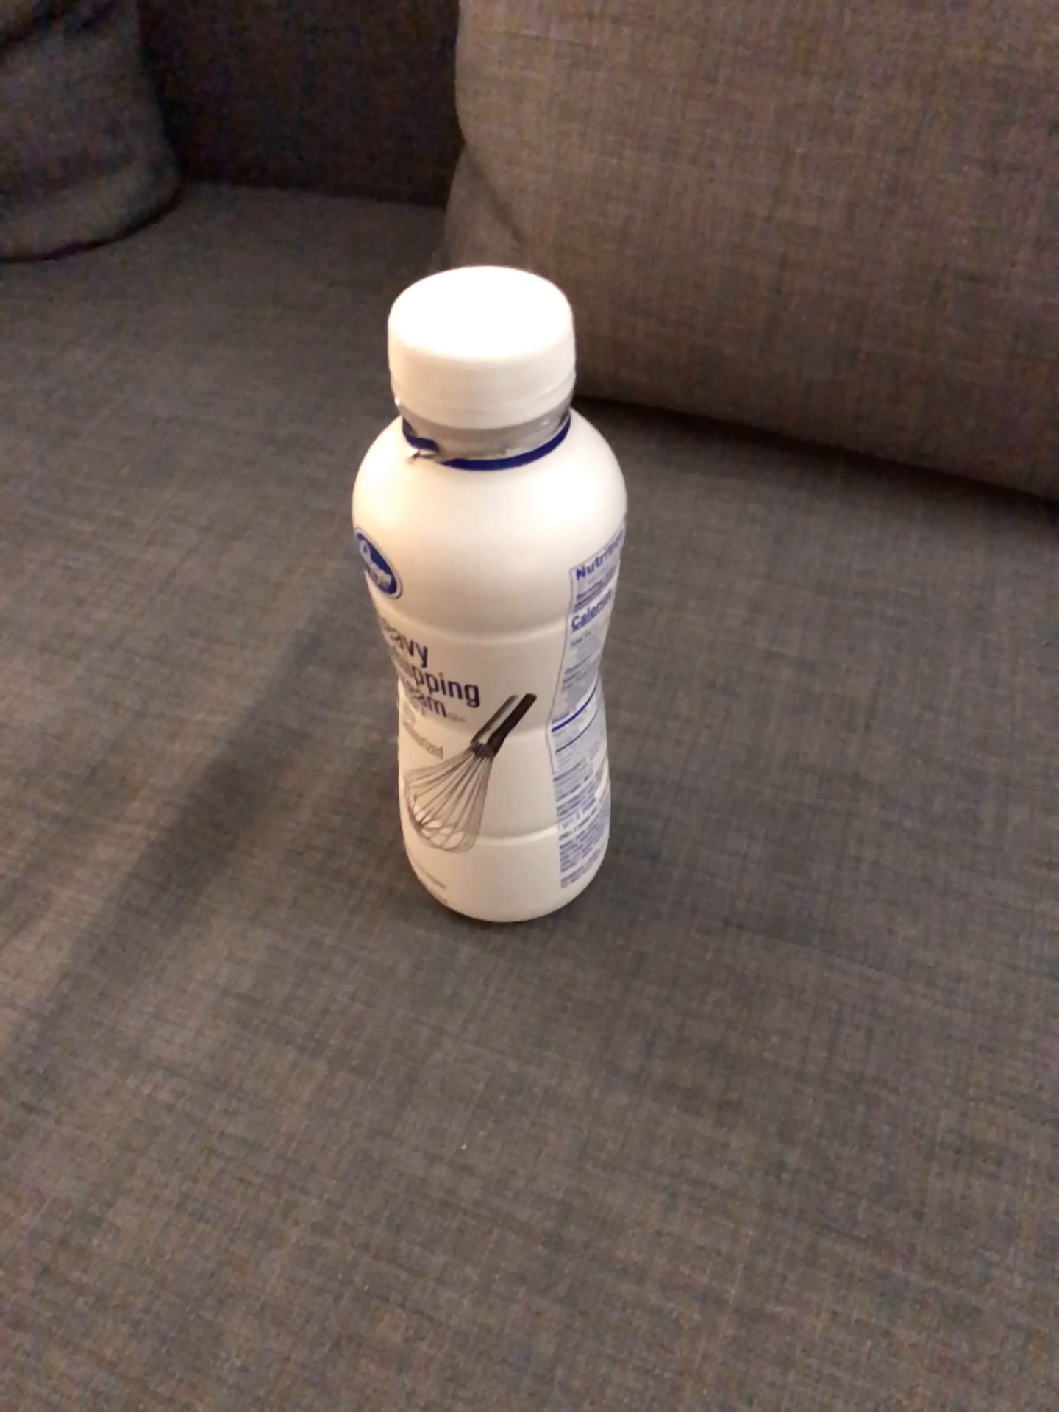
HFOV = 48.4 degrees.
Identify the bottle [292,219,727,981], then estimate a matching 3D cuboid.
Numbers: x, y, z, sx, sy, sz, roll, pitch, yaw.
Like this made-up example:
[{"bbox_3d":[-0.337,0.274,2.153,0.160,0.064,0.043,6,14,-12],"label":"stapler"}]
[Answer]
[{"bbox_3d":[-0.003,-0.018,0.319,0.070,0.189,0.070,-1,45,2],"label":"bottle"}]
